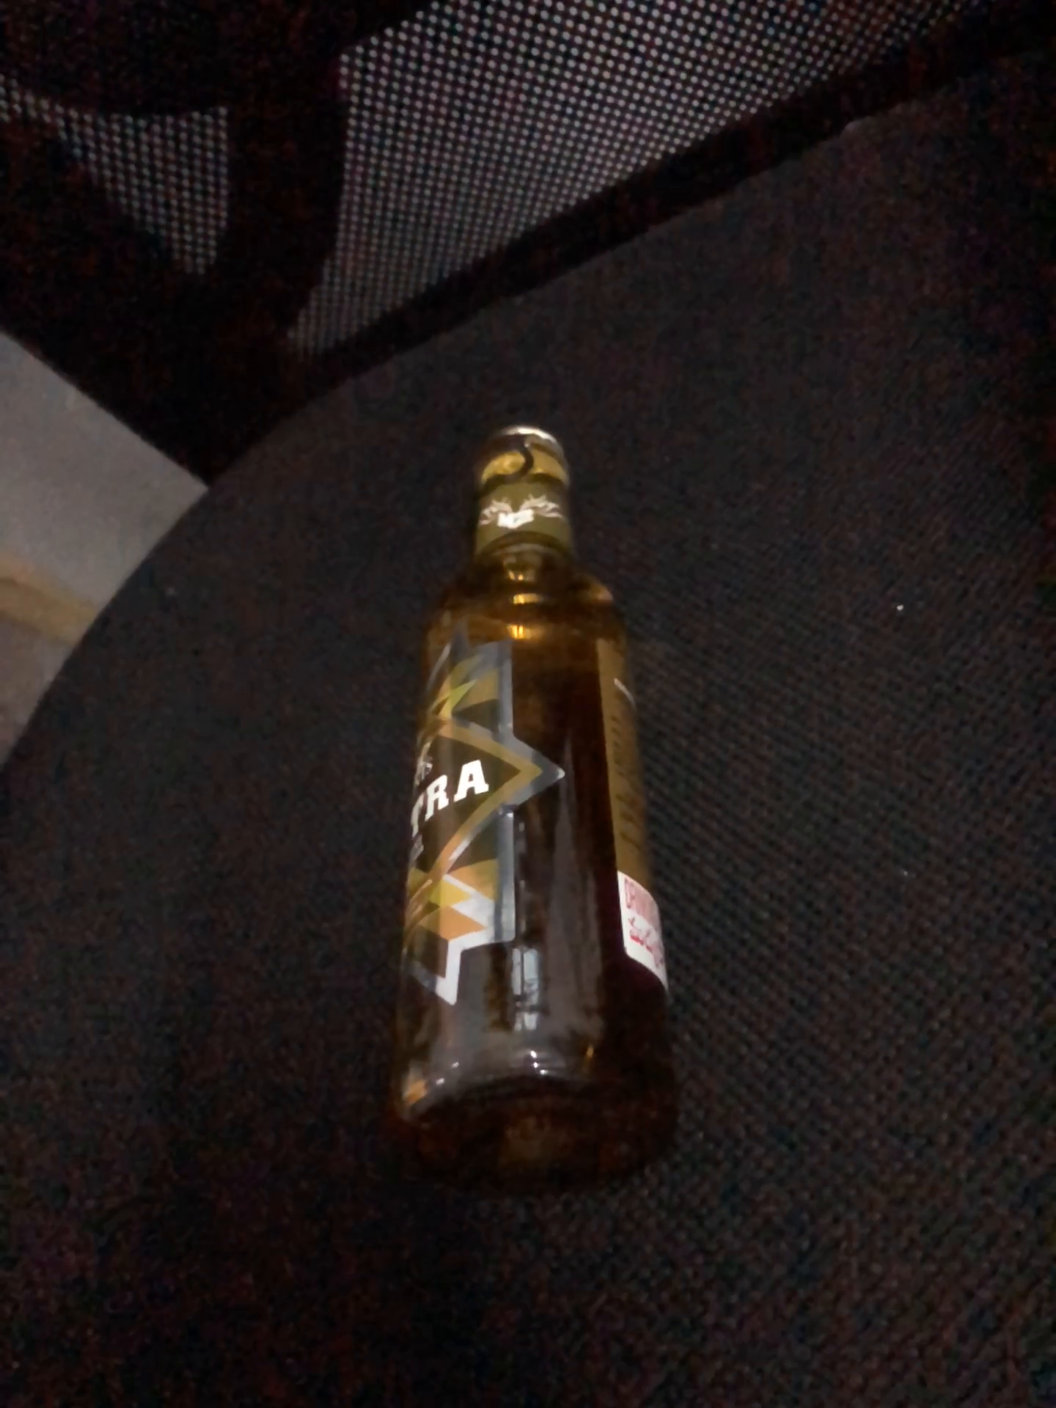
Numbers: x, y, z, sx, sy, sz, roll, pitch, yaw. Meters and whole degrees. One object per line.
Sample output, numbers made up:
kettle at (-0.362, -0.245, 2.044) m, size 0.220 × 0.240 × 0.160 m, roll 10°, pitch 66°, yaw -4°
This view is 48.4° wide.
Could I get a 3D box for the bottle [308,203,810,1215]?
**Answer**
bottle at (-0.003, -0.011, 0.280) m, size 0.070 × 0.060 × 0.231 m, roll -28°, pitch 50°, yaw 28°
